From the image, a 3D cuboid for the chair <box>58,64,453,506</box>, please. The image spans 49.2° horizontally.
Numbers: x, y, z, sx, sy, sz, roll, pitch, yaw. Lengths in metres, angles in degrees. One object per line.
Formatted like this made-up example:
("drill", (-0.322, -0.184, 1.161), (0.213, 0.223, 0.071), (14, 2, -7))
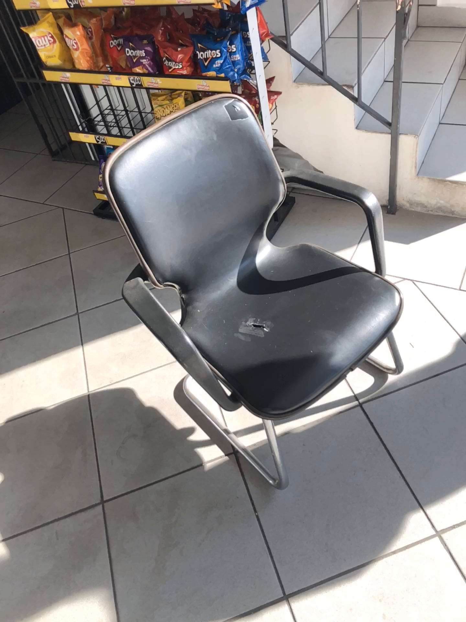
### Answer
("chair", (0.091, -0.062, 1.343), (0.581, 0.824, 0.583), (-38, 50, -21))
